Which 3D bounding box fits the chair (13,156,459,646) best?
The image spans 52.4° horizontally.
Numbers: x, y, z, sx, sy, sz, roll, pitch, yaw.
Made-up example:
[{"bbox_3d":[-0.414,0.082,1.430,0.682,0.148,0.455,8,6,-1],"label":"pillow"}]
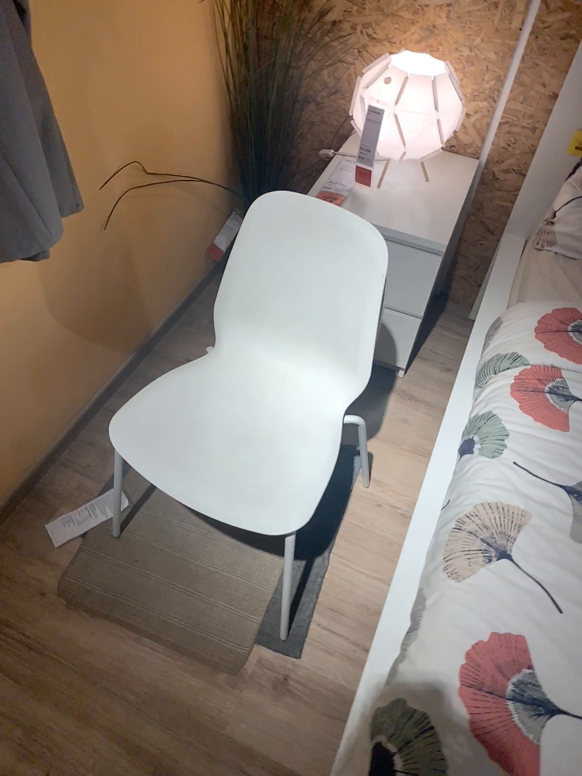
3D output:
[{"bbox_3d":[-0.083,0.046,1.293,0.540,0.757,0.562,25,52,16],"label":"chair"}]
